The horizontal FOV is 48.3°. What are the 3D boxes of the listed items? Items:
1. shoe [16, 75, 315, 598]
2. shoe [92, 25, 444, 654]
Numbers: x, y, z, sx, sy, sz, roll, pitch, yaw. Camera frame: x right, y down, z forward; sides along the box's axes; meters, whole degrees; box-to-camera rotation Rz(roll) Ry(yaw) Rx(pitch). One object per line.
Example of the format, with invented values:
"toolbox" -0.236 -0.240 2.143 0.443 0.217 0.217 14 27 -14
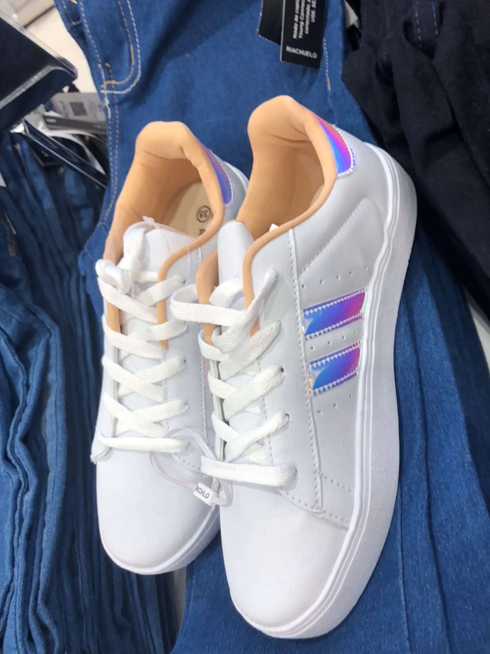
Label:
"shoe" -0.031 0.003 0.329 0.090 0.110 0.260 3 75 24
"shoe" 0.024 0.014 0.270 0.090 0.110 0.260 -4 71 42
